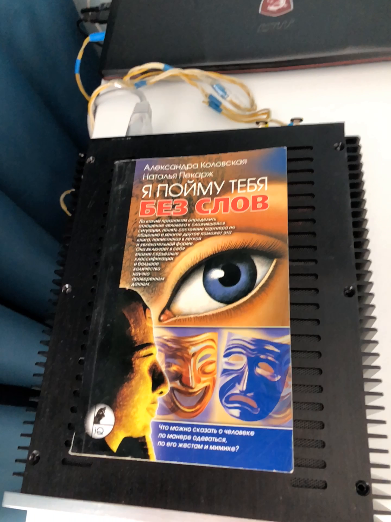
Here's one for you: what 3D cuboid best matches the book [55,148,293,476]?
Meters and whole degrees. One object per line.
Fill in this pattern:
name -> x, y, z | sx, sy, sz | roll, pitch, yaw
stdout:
book -> -0.006, 0.020, 0.260 | 0.123, 0.023, 0.183 | -1, 68, 13
